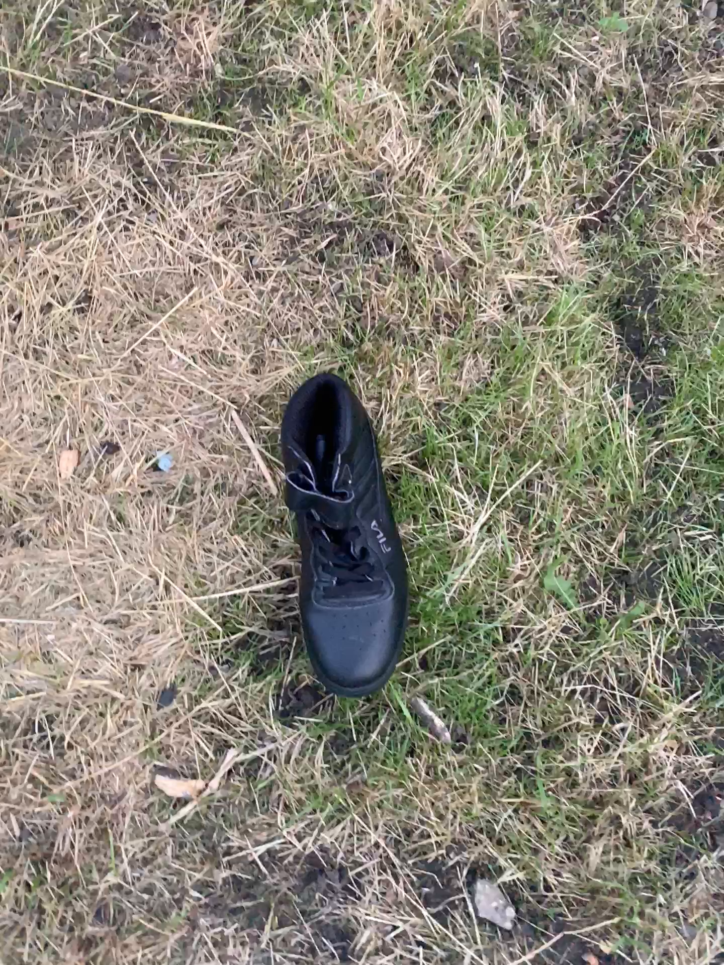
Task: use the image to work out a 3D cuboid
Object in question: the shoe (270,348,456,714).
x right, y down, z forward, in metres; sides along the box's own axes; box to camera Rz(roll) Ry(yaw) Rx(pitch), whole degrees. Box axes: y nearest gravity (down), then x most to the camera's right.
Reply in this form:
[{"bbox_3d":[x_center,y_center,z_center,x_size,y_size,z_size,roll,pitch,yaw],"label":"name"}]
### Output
[{"bbox_3d":[-0.009,0.044,0.600,0.100,0.140,0.261,-6,75,-7],"label":"shoe"}]
